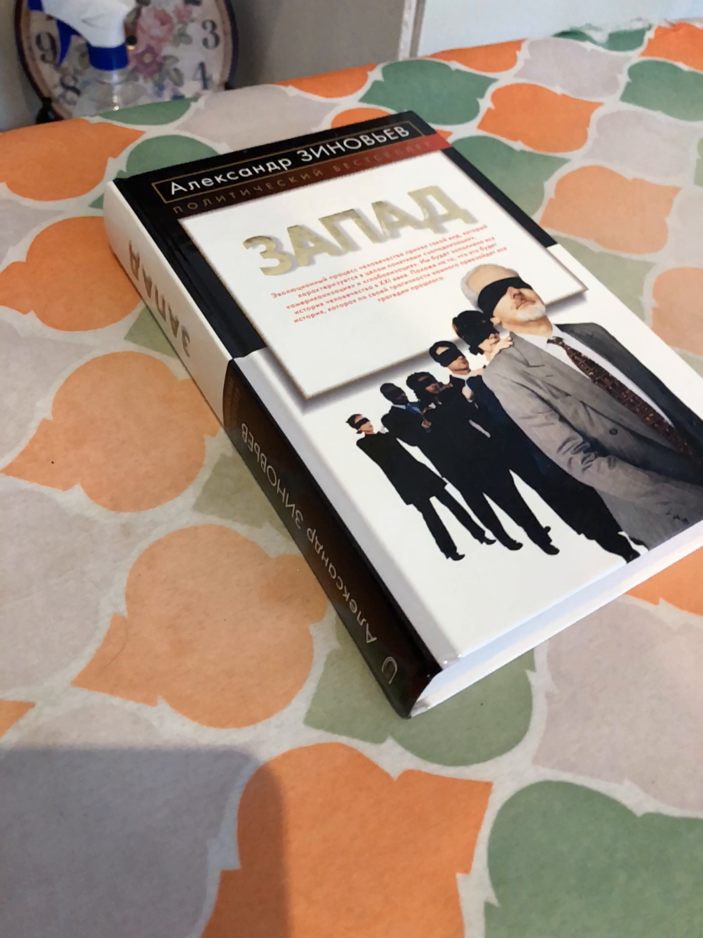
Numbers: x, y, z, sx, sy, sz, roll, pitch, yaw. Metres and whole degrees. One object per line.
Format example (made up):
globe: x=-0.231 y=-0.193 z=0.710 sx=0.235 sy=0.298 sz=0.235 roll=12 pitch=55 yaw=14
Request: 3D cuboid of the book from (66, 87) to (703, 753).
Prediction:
book: x=0.014 y=-0.043 z=0.264 sx=0.140 sy=0.040 sz=0.221 roll=-23 pitch=59 yaw=-22
